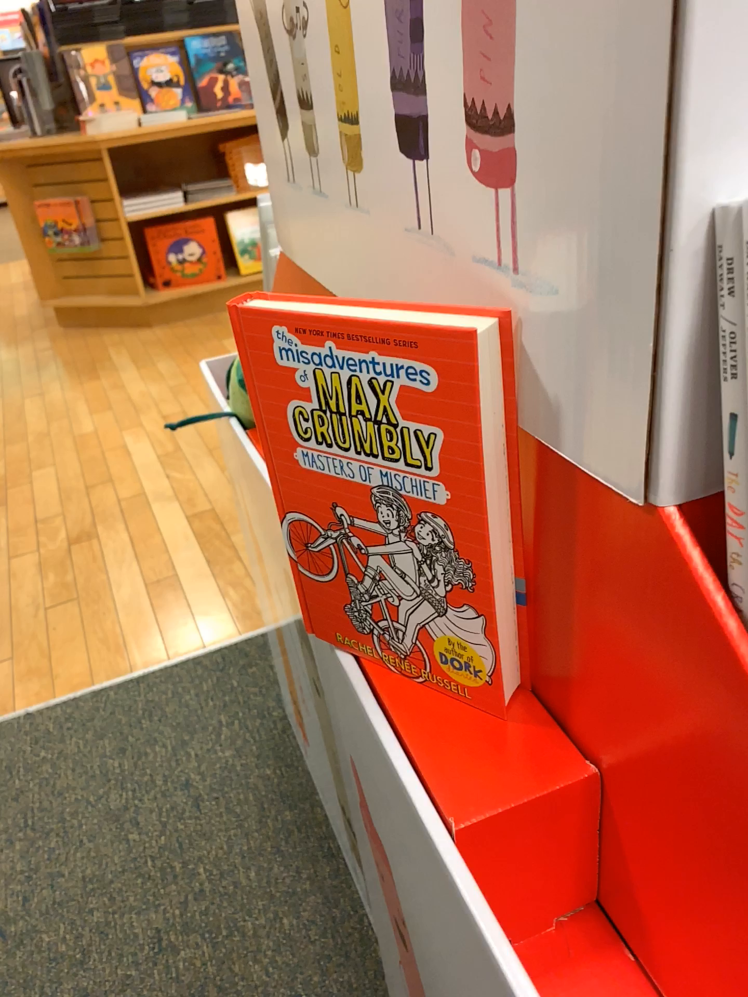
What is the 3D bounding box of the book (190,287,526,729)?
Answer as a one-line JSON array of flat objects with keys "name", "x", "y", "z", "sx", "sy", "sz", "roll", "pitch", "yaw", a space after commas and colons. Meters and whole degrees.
[{"name": "book", "x": -0.002, "y": 0.006, "z": 0.373, "sx": 0.142, "sy": 0.201, "sz": 0.031, "roll": 14, "pitch": 38, "yaw": 33}]
